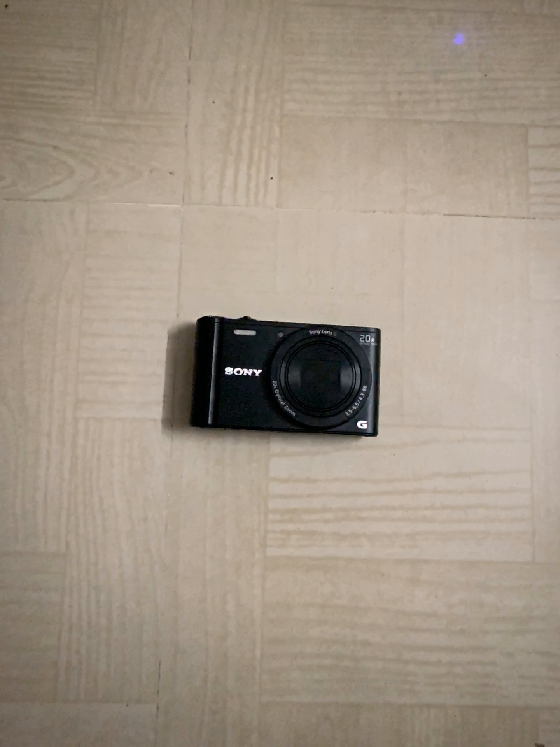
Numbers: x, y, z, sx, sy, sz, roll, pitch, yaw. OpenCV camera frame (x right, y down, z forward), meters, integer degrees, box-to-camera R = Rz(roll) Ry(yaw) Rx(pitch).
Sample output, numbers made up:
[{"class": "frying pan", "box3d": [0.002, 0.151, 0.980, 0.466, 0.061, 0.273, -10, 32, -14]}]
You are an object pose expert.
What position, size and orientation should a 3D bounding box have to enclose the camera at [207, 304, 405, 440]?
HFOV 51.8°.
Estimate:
[{"class": "camera", "box3d": [0.013, 0.000, 0.290, 0.092, 0.025, 0.060, 4, 84, -1]}]
